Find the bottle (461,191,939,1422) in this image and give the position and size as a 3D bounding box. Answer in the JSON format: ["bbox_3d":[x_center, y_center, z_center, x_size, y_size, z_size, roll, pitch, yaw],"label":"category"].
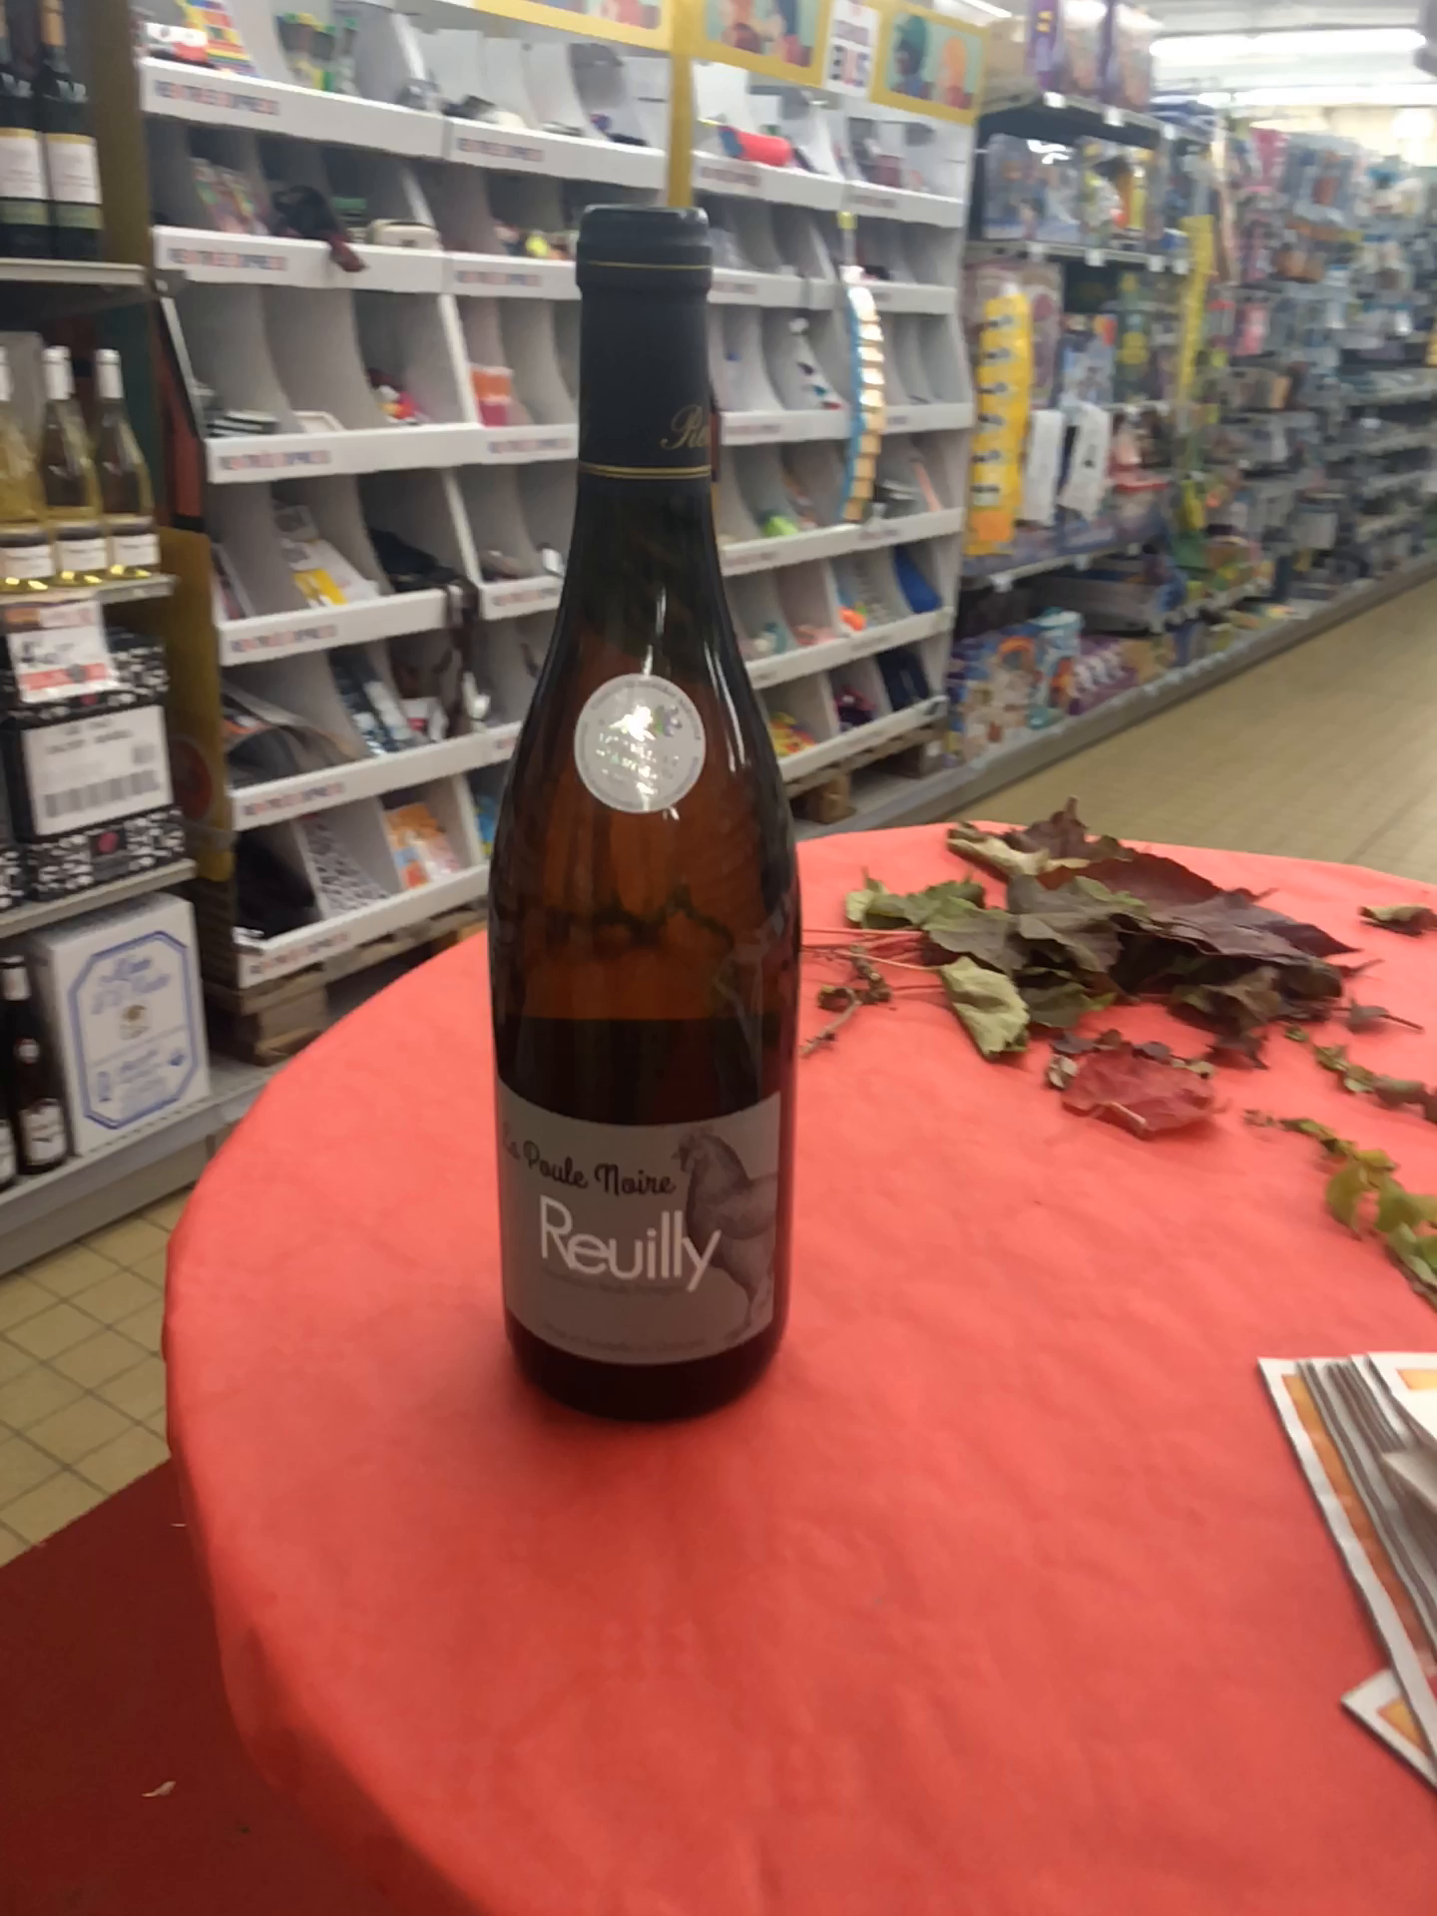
[{"bbox_3d":[-0.008,-0.030,0.390,0.090,0.279,0.090,2,22,-1],"label":"bottle"}]
